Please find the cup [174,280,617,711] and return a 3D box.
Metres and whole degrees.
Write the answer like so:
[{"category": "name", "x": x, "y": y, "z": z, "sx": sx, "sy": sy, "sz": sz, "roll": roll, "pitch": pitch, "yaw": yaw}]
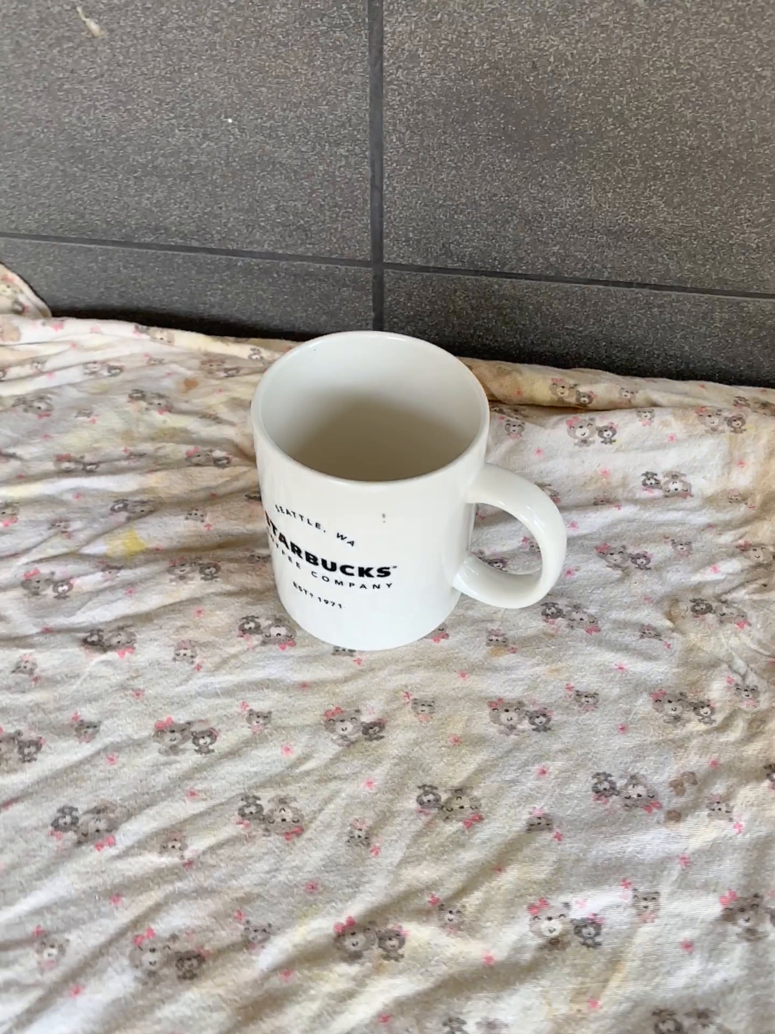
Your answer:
[{"category": "cup", "x": 0.006, "y": -0.010, "z": 0.318, "sx": 0.130, "sy": 0.110, "sz": 0.090, "roll": 17, "pitch": 50, "yaw": 14}]
